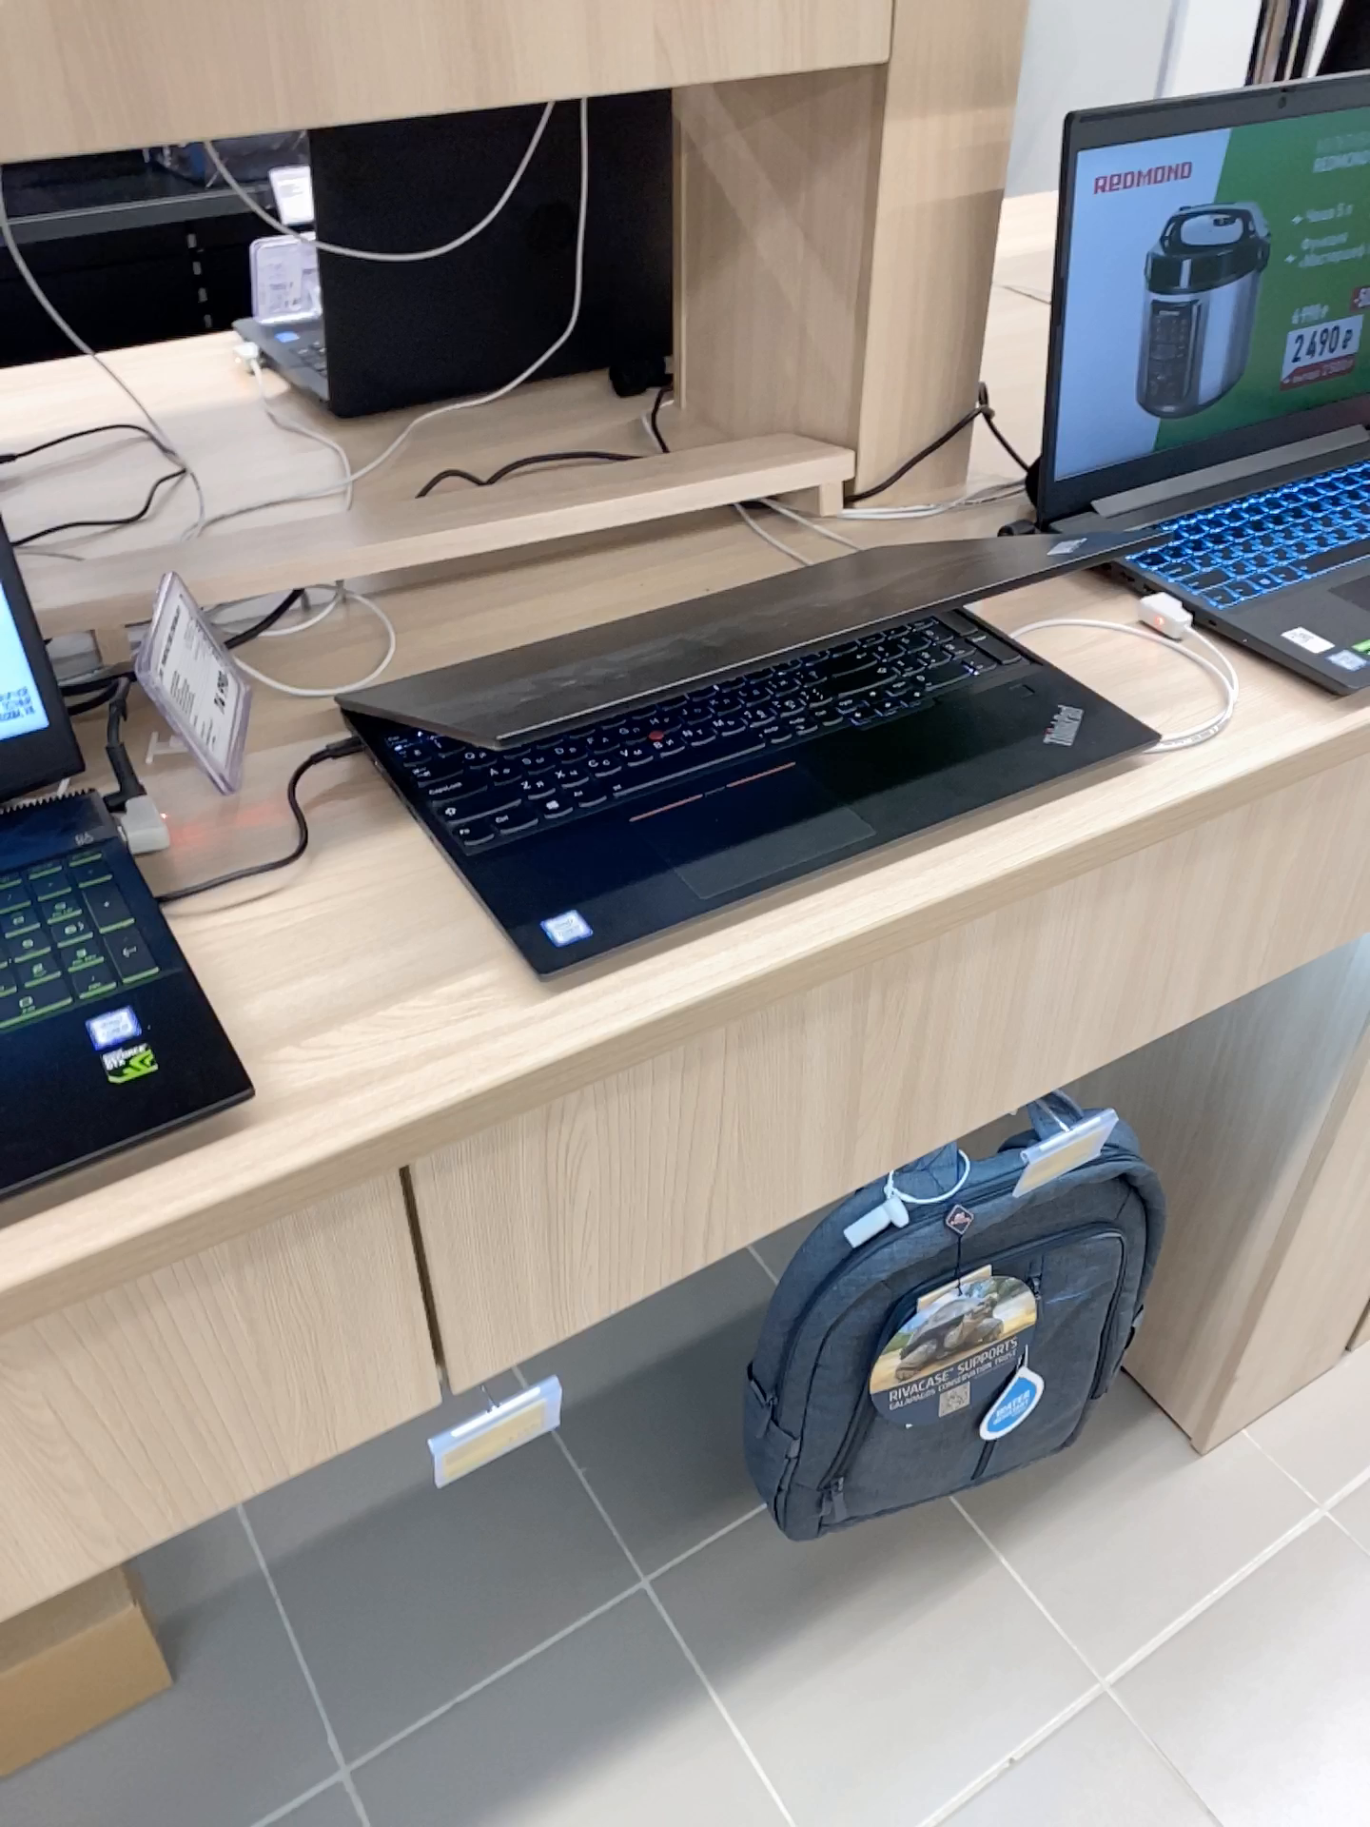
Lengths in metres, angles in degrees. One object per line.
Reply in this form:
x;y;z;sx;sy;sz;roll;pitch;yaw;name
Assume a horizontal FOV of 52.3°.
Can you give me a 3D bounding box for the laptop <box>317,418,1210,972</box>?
0.035;-0.137;0.718;0.368;0.093;0.241;-20;44;-22;laptop
